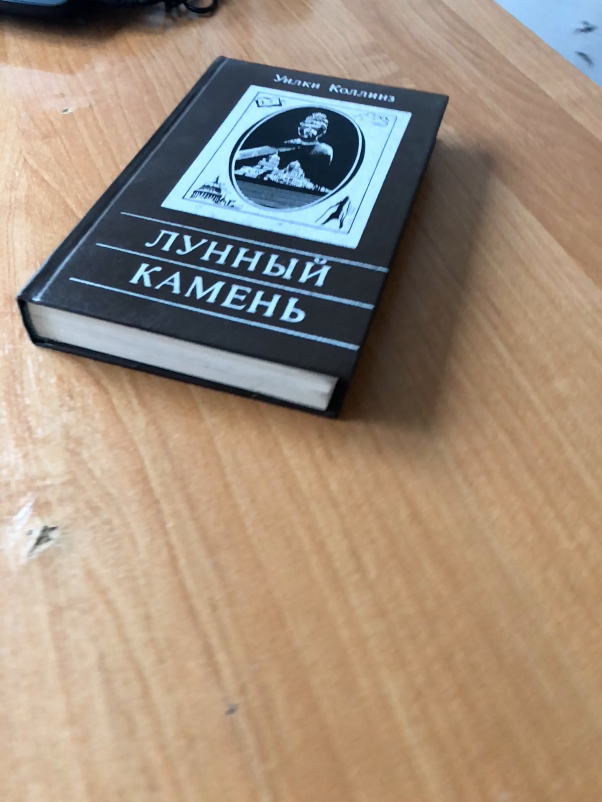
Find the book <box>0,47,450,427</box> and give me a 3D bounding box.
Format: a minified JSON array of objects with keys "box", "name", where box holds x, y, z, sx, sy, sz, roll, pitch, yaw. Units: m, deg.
[{"box":[-0.019,-0.091,0.304,0.133,0.032,0.199,14,54,11],"name":"book"}]
